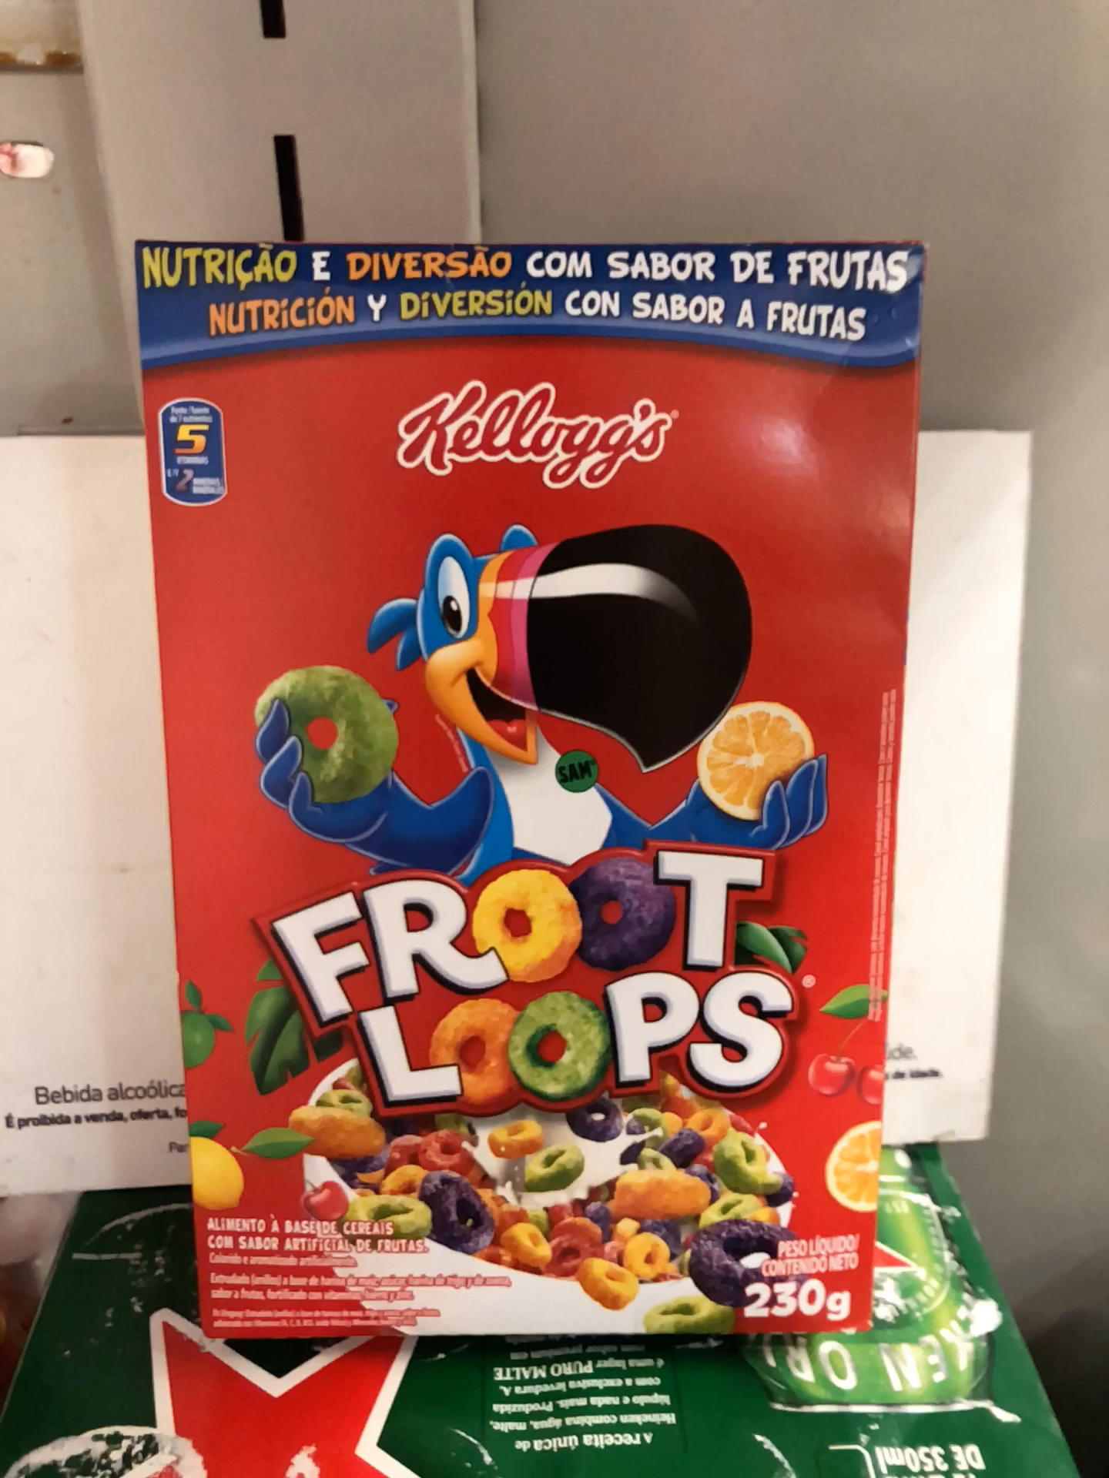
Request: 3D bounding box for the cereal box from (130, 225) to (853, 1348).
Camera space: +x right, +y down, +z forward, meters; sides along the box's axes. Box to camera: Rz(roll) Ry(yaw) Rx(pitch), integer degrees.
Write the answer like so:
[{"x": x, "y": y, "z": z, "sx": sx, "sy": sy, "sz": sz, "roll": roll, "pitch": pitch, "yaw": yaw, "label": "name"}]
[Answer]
[{"x": -0.013, "y": 0.015, "z": 0.311, "sx": 0.150, "sy": 0.259, "sz": 0.060, "roll": -1, "pitch": 10, "yaw": -1, "label": "cereal box"}]
